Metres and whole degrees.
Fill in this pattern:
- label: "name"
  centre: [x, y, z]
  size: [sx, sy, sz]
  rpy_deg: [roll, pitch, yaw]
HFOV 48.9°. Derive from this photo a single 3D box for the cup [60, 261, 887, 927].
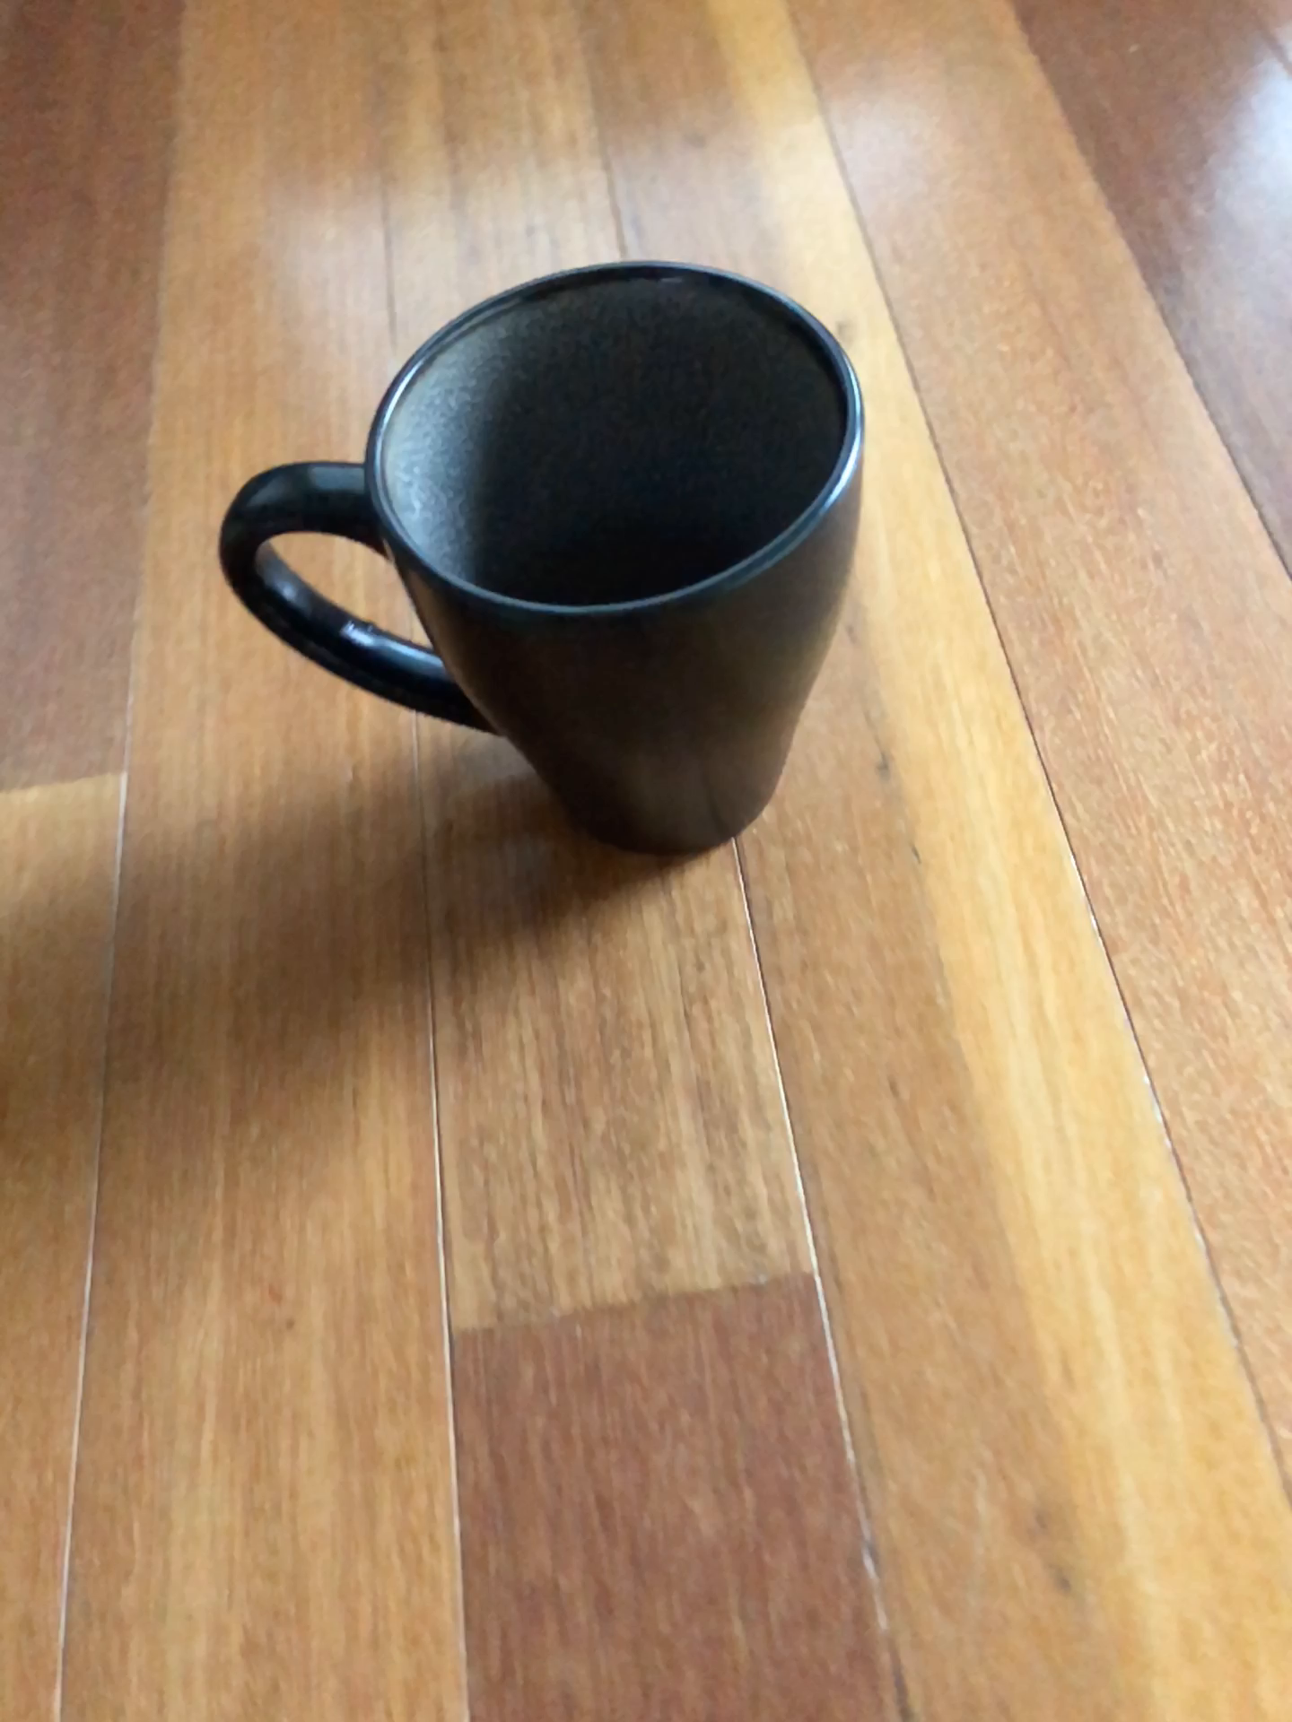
- label: "cup"
  centre: [-0.023, -0.054, 0.300]
  size: [0.137, 0.100, 0.090]
  rpy_deg: [4, 60, 9]
